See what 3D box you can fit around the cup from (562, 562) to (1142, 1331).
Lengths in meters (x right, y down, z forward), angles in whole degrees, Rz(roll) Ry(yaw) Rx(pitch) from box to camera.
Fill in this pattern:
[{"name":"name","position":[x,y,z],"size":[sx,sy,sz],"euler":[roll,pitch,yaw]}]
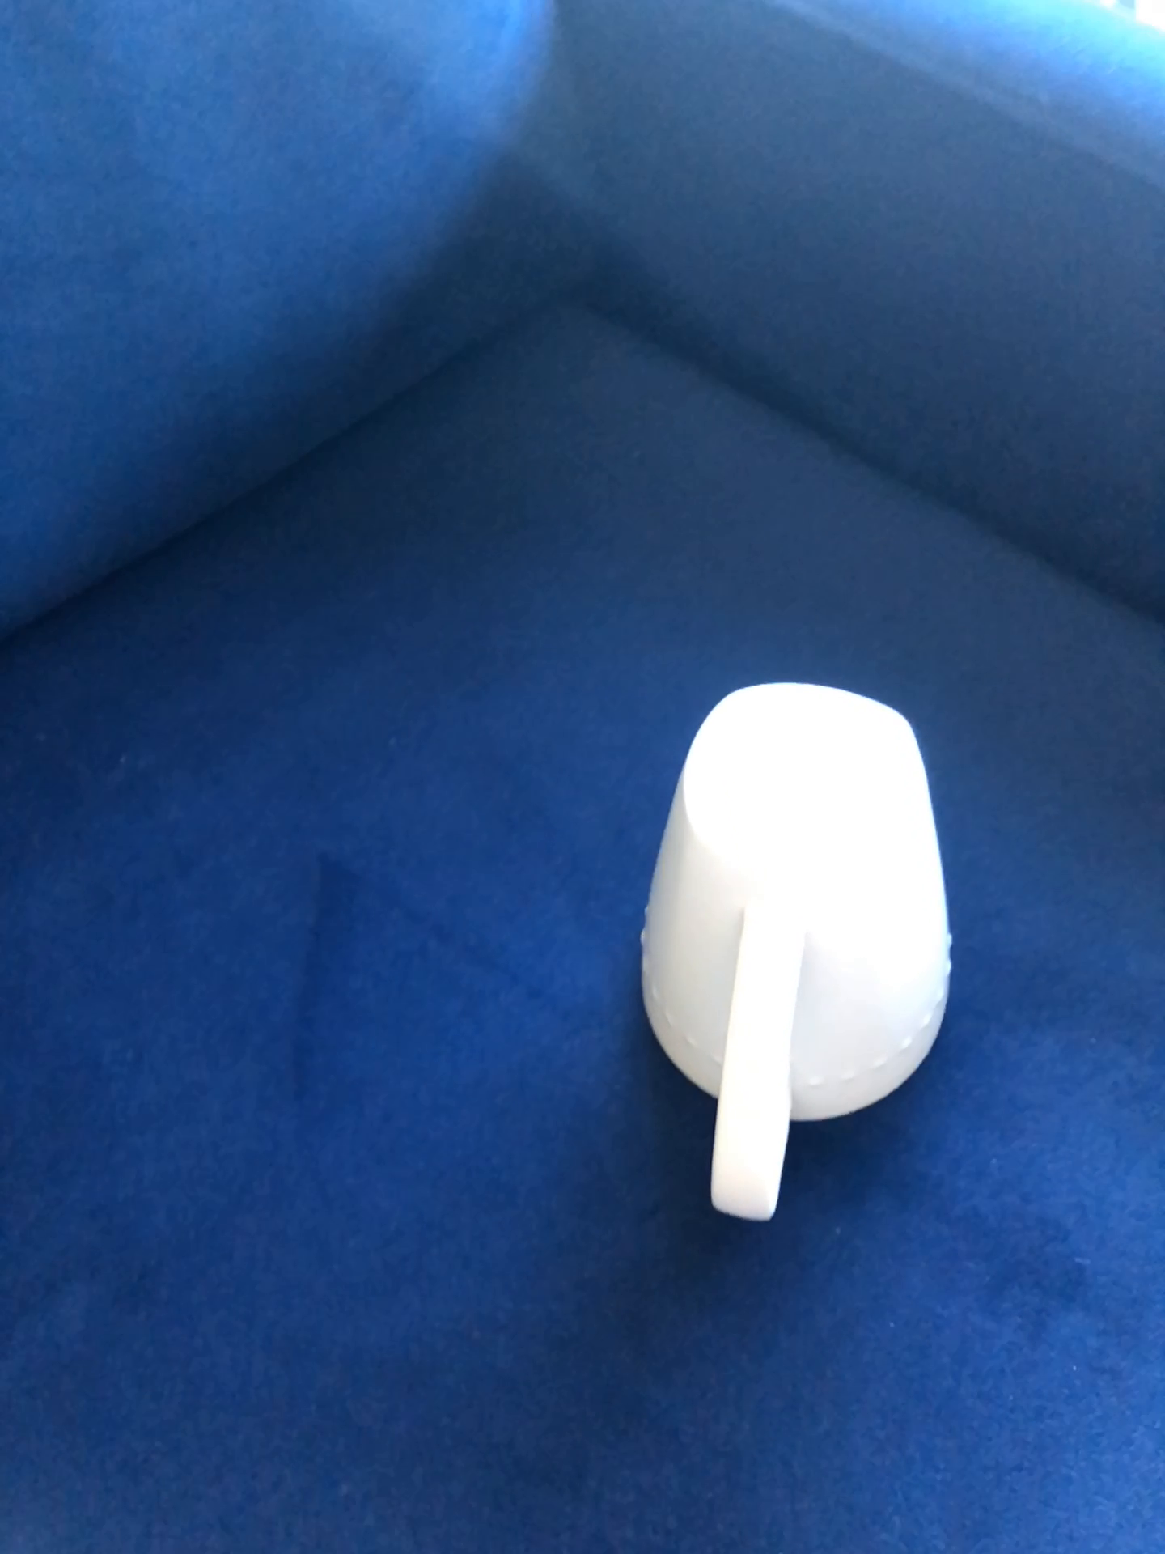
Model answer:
[{"name":"cup","position":[0.067,0.039,0.327],"size":[0.110,0.090,0.150],"euler":[9,56,8]}]
